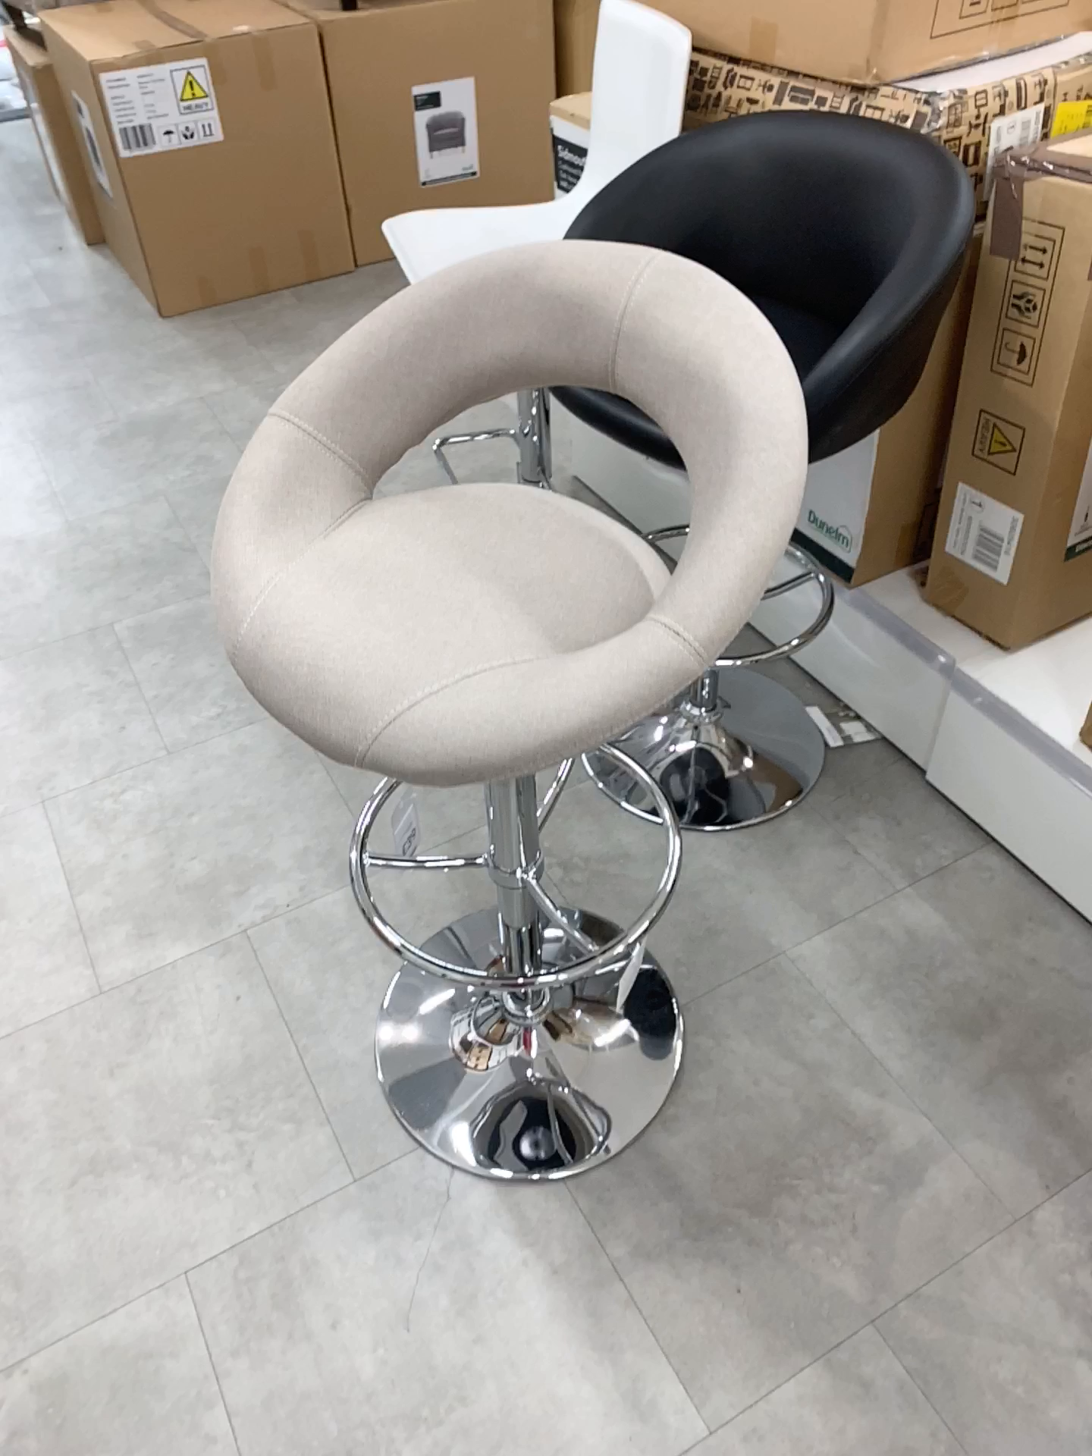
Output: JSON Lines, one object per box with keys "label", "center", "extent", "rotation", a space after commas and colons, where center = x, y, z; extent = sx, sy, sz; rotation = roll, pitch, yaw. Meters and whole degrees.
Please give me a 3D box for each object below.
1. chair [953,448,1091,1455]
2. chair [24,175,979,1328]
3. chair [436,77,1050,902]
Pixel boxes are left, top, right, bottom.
{"label": "chair", "center": [0.790, 0.340, 0.877], "extent": [0.543, 0.863, 0.521], "rotation": [-13, 43, -11]}
{"label": "chair", "center": [-0.037, 0.050, 1.181], "extent": [0.485, 0.962, 0.569], "rotation": [-31, 49, -27]}
{"label": "chair", "center": [0.234, -0.325, 1.618], "extent": [0.484, 0.933, 0.519], "rotation": [-29, 48, -25]}
